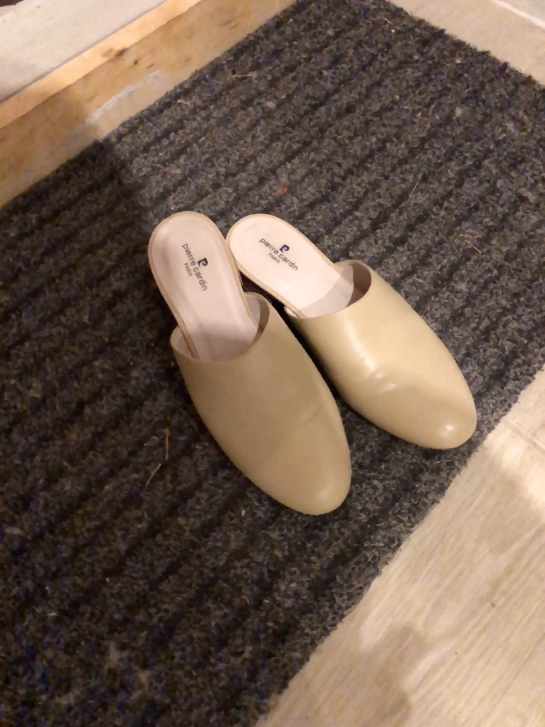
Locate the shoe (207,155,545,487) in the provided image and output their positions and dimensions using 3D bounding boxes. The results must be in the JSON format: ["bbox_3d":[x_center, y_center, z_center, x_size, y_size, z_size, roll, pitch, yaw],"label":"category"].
[{"bbox_3d":[0.066,-0.039,0.451,0.090,0.070,0.250,-37,69,-16],"label":"shoe"}]

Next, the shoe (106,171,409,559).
[{"bbox_3d":[-0.019,-0.008,0.412,0.090,0.070,0.251,-25,66,-12],"label":"shoe"}]
